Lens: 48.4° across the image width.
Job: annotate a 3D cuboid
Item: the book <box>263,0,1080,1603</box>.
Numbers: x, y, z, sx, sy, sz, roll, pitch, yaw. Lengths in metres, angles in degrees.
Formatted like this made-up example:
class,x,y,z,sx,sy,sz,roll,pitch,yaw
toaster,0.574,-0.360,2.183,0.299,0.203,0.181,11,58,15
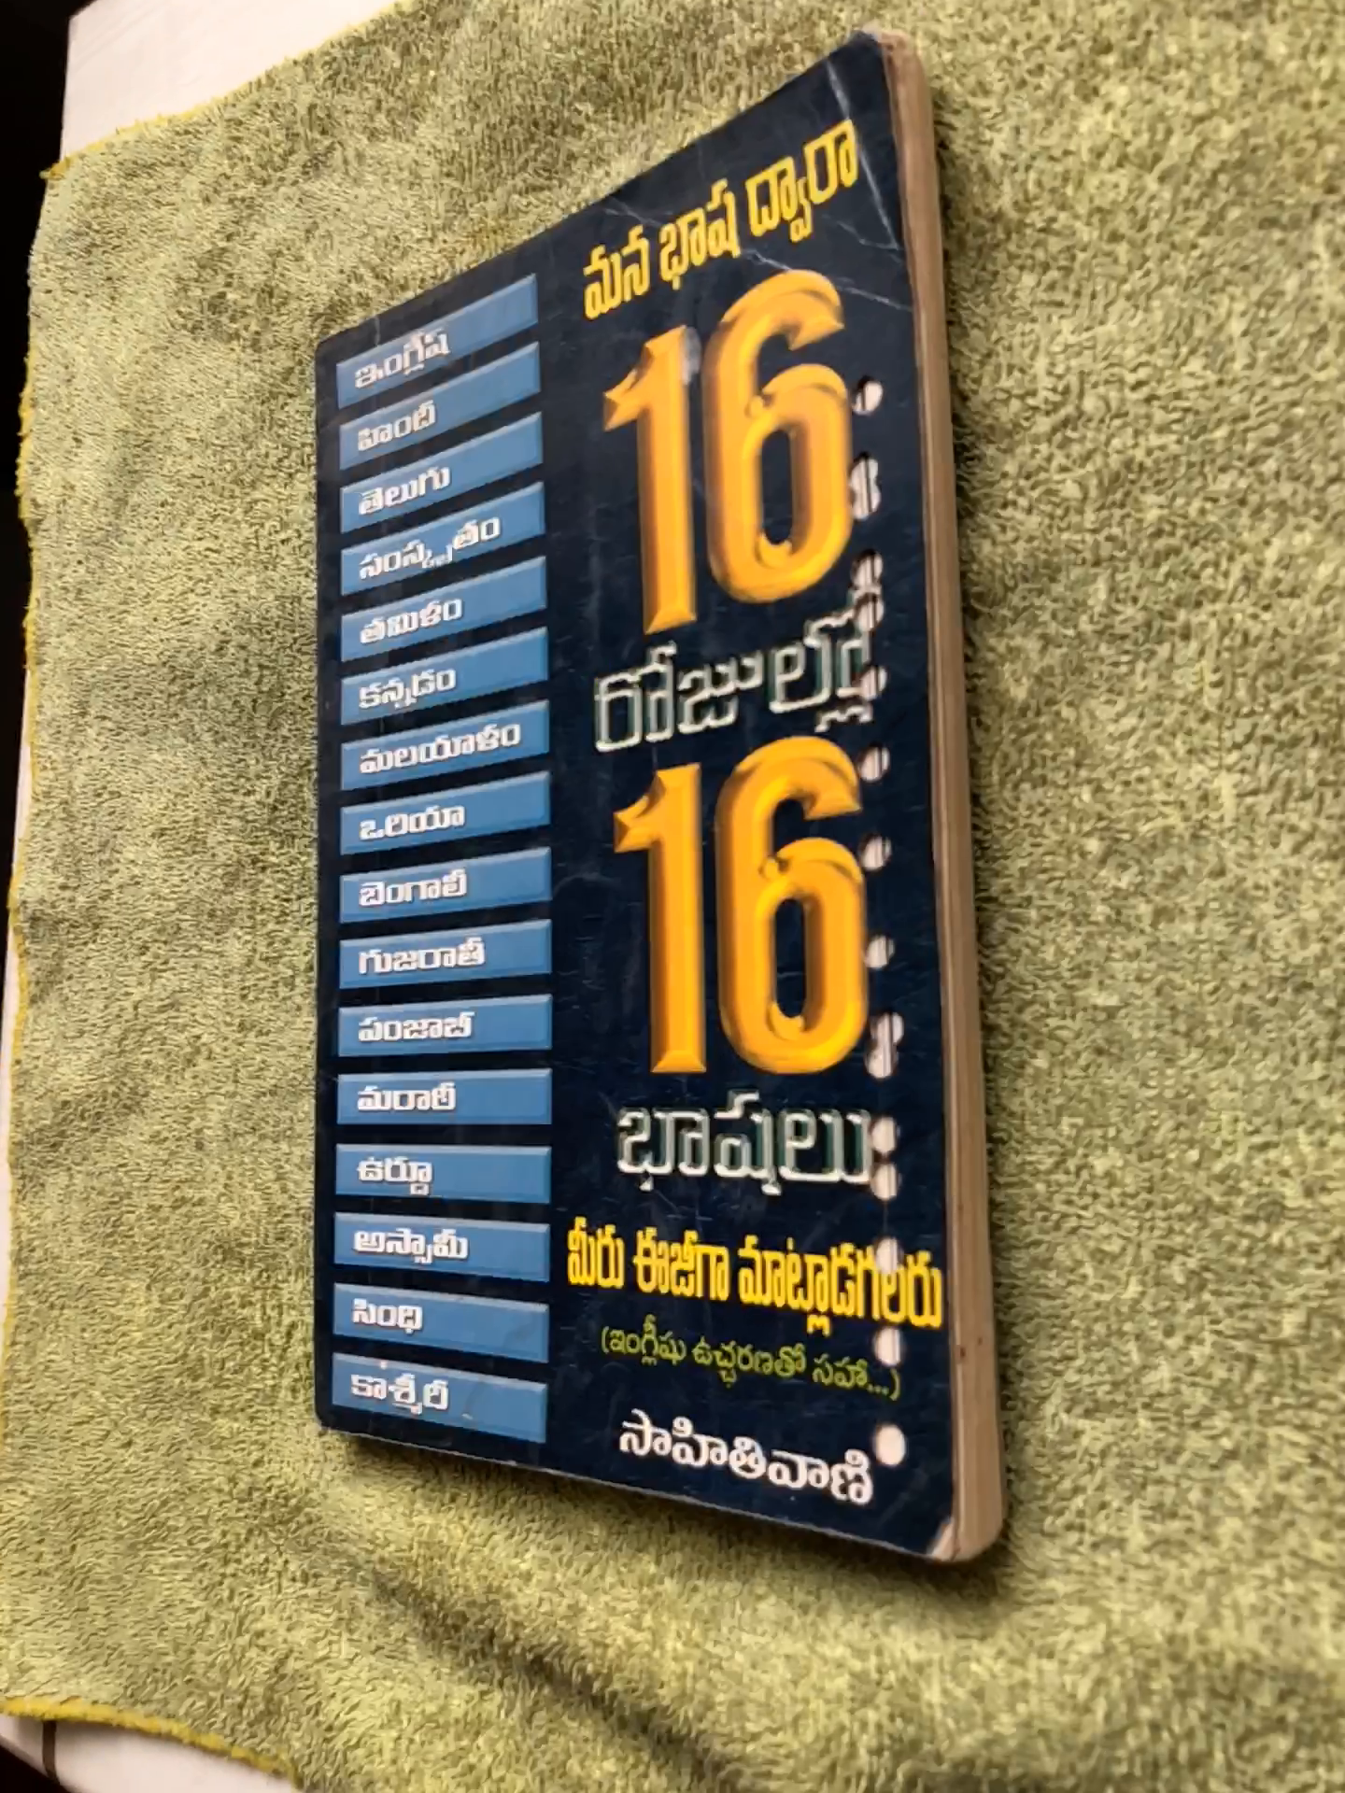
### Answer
class,x,y,z,sx,sy,sz,roll,pitch,yaw
book,-0.012,-0.020,0.243,0.141,0.030,0.220,-7,81,40
